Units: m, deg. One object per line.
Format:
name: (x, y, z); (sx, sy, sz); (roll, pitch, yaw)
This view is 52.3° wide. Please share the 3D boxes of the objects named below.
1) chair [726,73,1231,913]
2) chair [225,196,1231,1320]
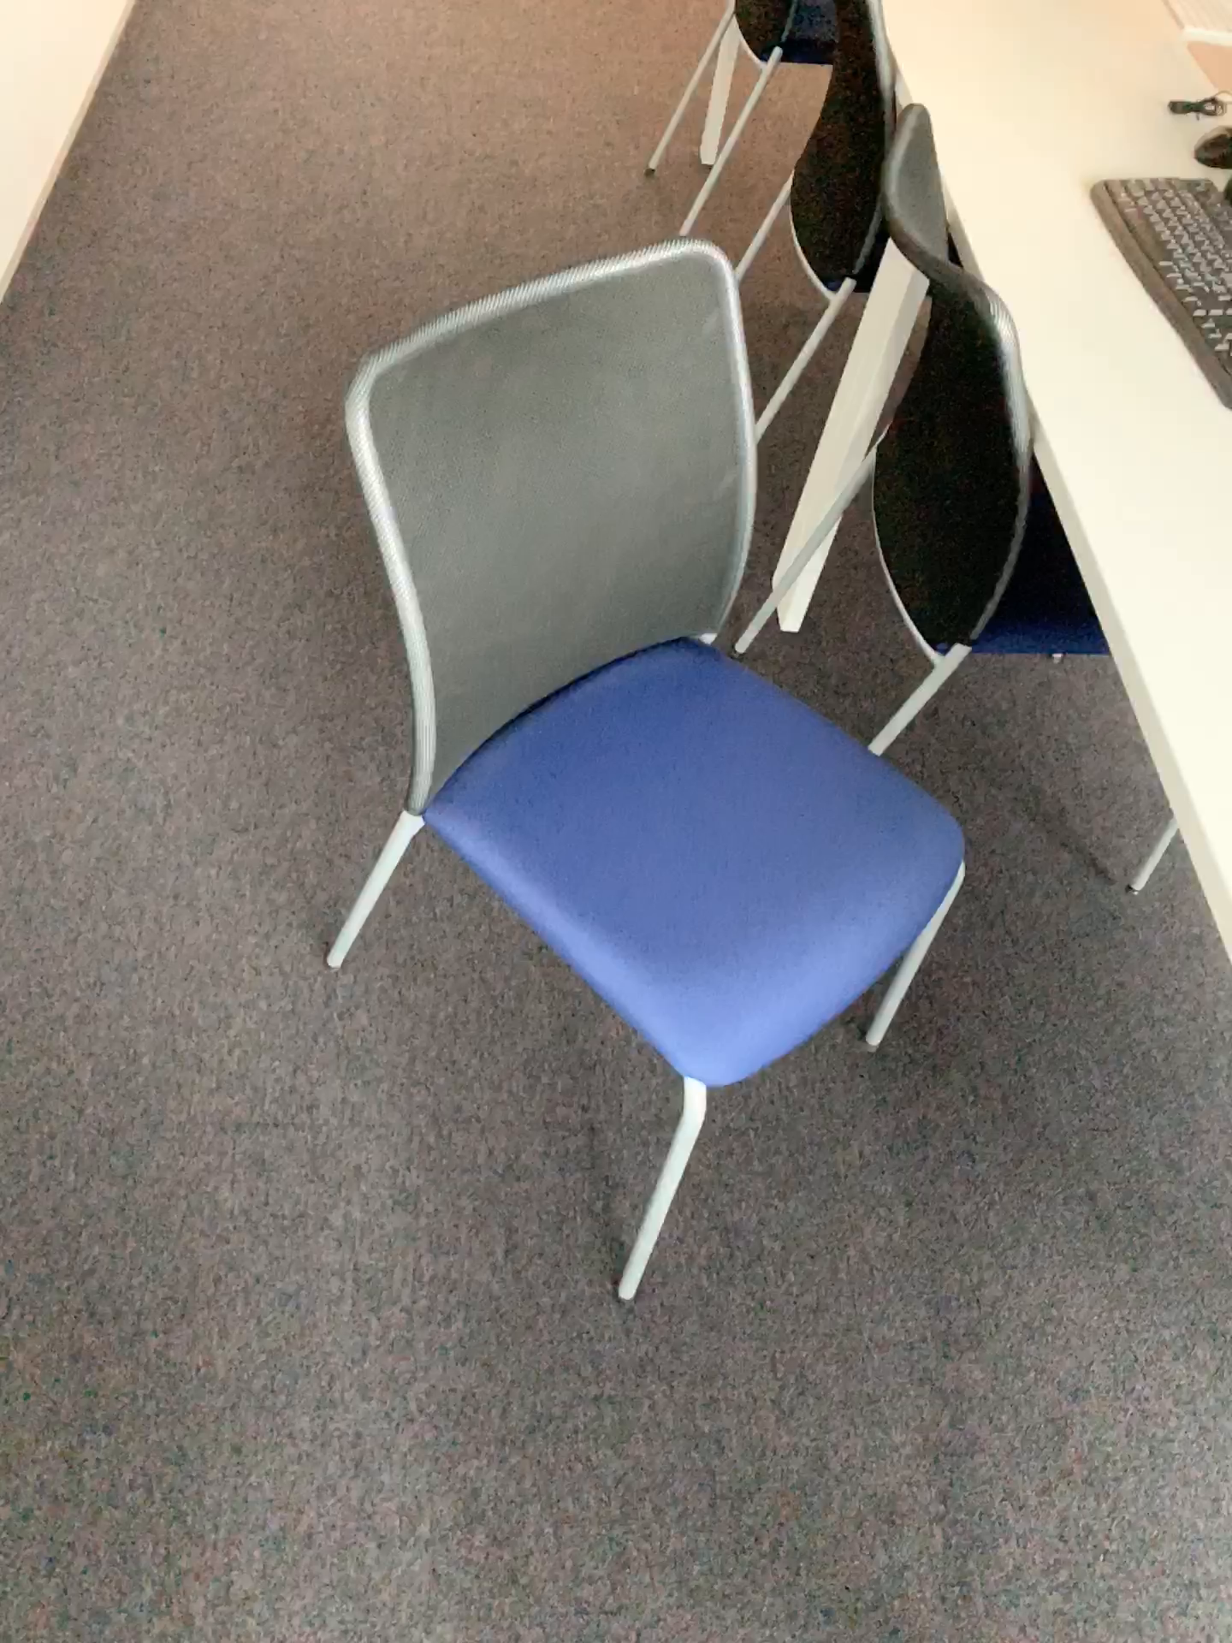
chair: (0.588, -0.367, 1.677); (0.650, 0.866, 0.573); (3, 52, -9)
chair: (0.056, -0.038, 1.319); (0.572, 0.826, 0.631); (-34, 66, -31)
